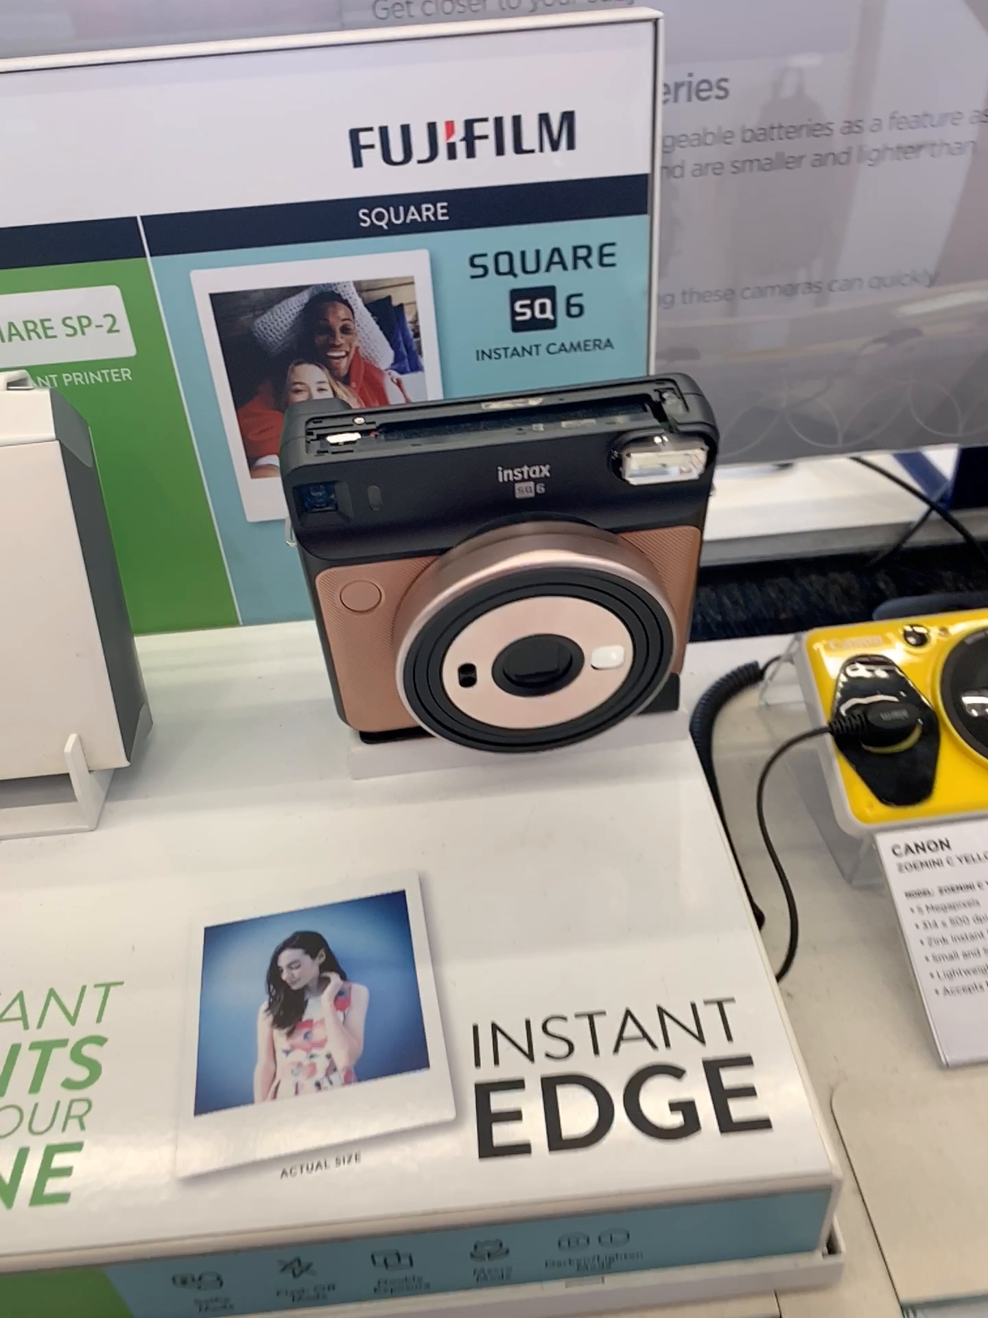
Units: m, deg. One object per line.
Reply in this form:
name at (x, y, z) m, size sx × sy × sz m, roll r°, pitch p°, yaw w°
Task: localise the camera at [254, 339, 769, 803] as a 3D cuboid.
camera at (0.003, -0.024, 0.318) m, size 0.130 × 0.119 × 0.061 m, roll -7°, pitch 46°, yaw -5°
